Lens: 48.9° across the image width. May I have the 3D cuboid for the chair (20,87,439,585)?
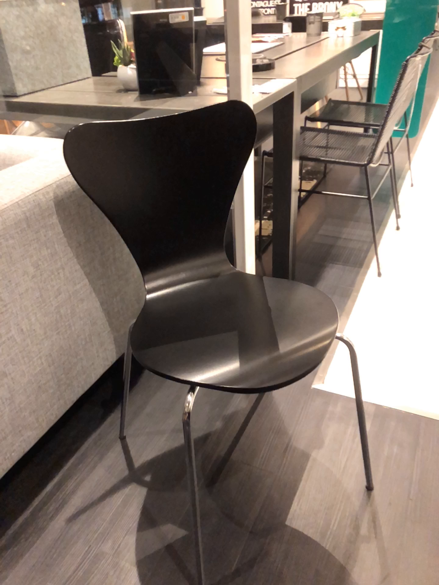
[{"bbox_3d":[0.002,0.075,0.983,0.491,0.804,0.503,-19,35,-24],"label":"chair"}]
